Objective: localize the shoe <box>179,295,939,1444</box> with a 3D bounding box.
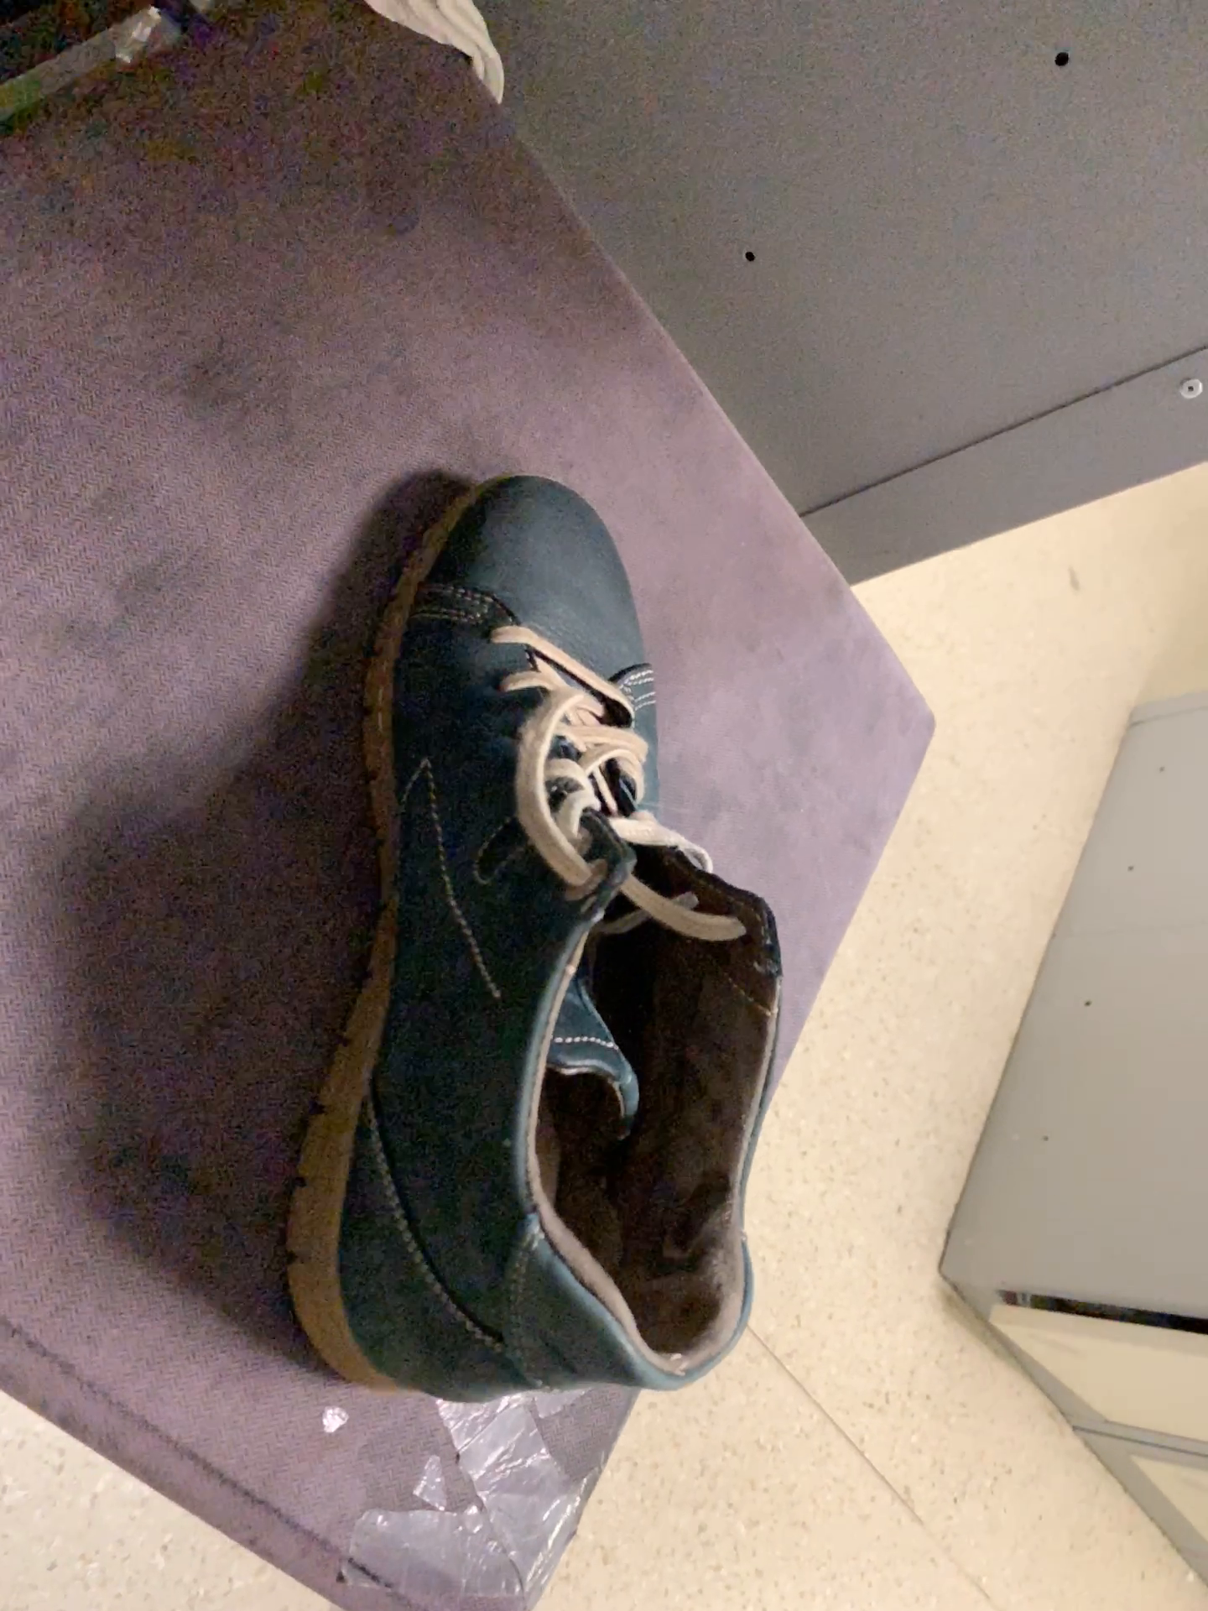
[{"bbox_3d":[-0.006,0.021,0.335,0.103,0.142,0.245,24,65,-37],"label":"shoe"}]
